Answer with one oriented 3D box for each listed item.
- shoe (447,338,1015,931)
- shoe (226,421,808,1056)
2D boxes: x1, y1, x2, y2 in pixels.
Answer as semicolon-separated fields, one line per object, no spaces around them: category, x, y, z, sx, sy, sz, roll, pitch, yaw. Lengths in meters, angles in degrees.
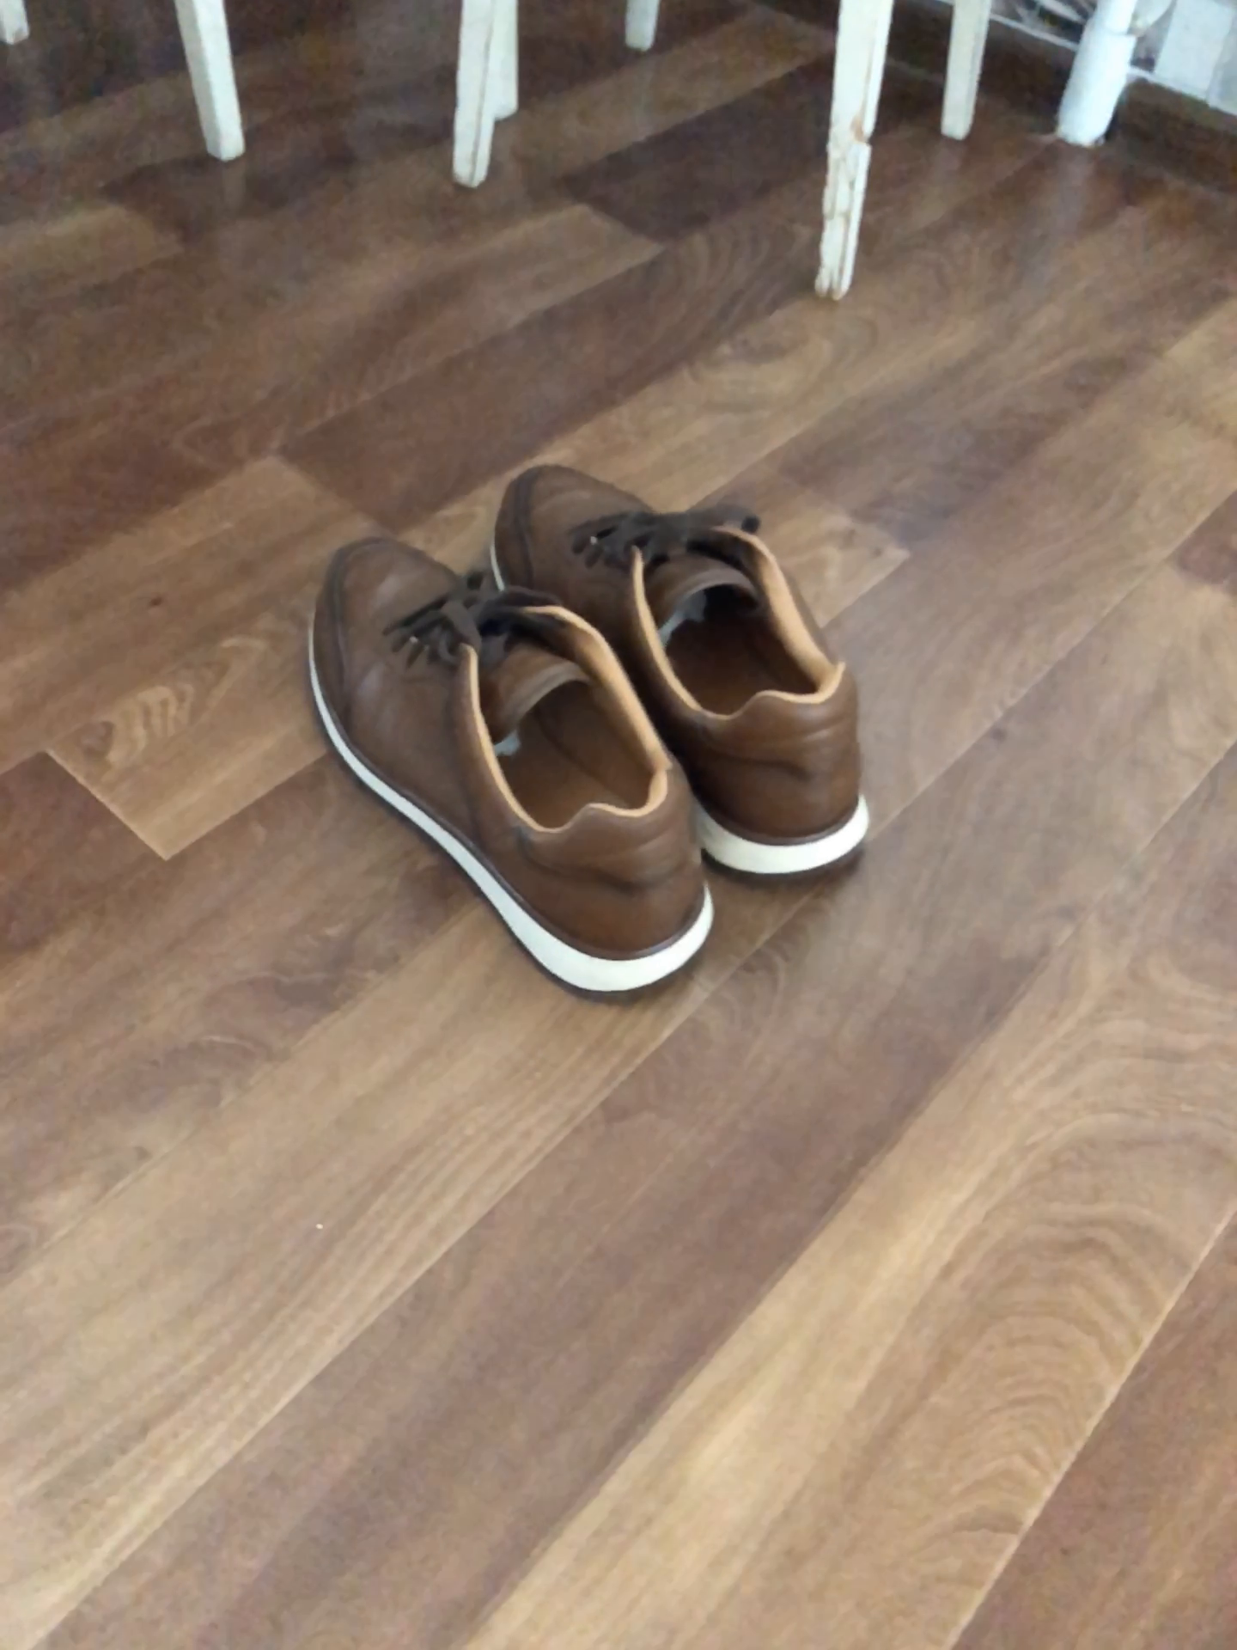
shoe;0.036;-0.100;0.631;0.110;0.089;0.281;-24;57;-21
shoe;-0.054;-0.050;0.593;0.100;0.089;0.281;-28;58;-24
